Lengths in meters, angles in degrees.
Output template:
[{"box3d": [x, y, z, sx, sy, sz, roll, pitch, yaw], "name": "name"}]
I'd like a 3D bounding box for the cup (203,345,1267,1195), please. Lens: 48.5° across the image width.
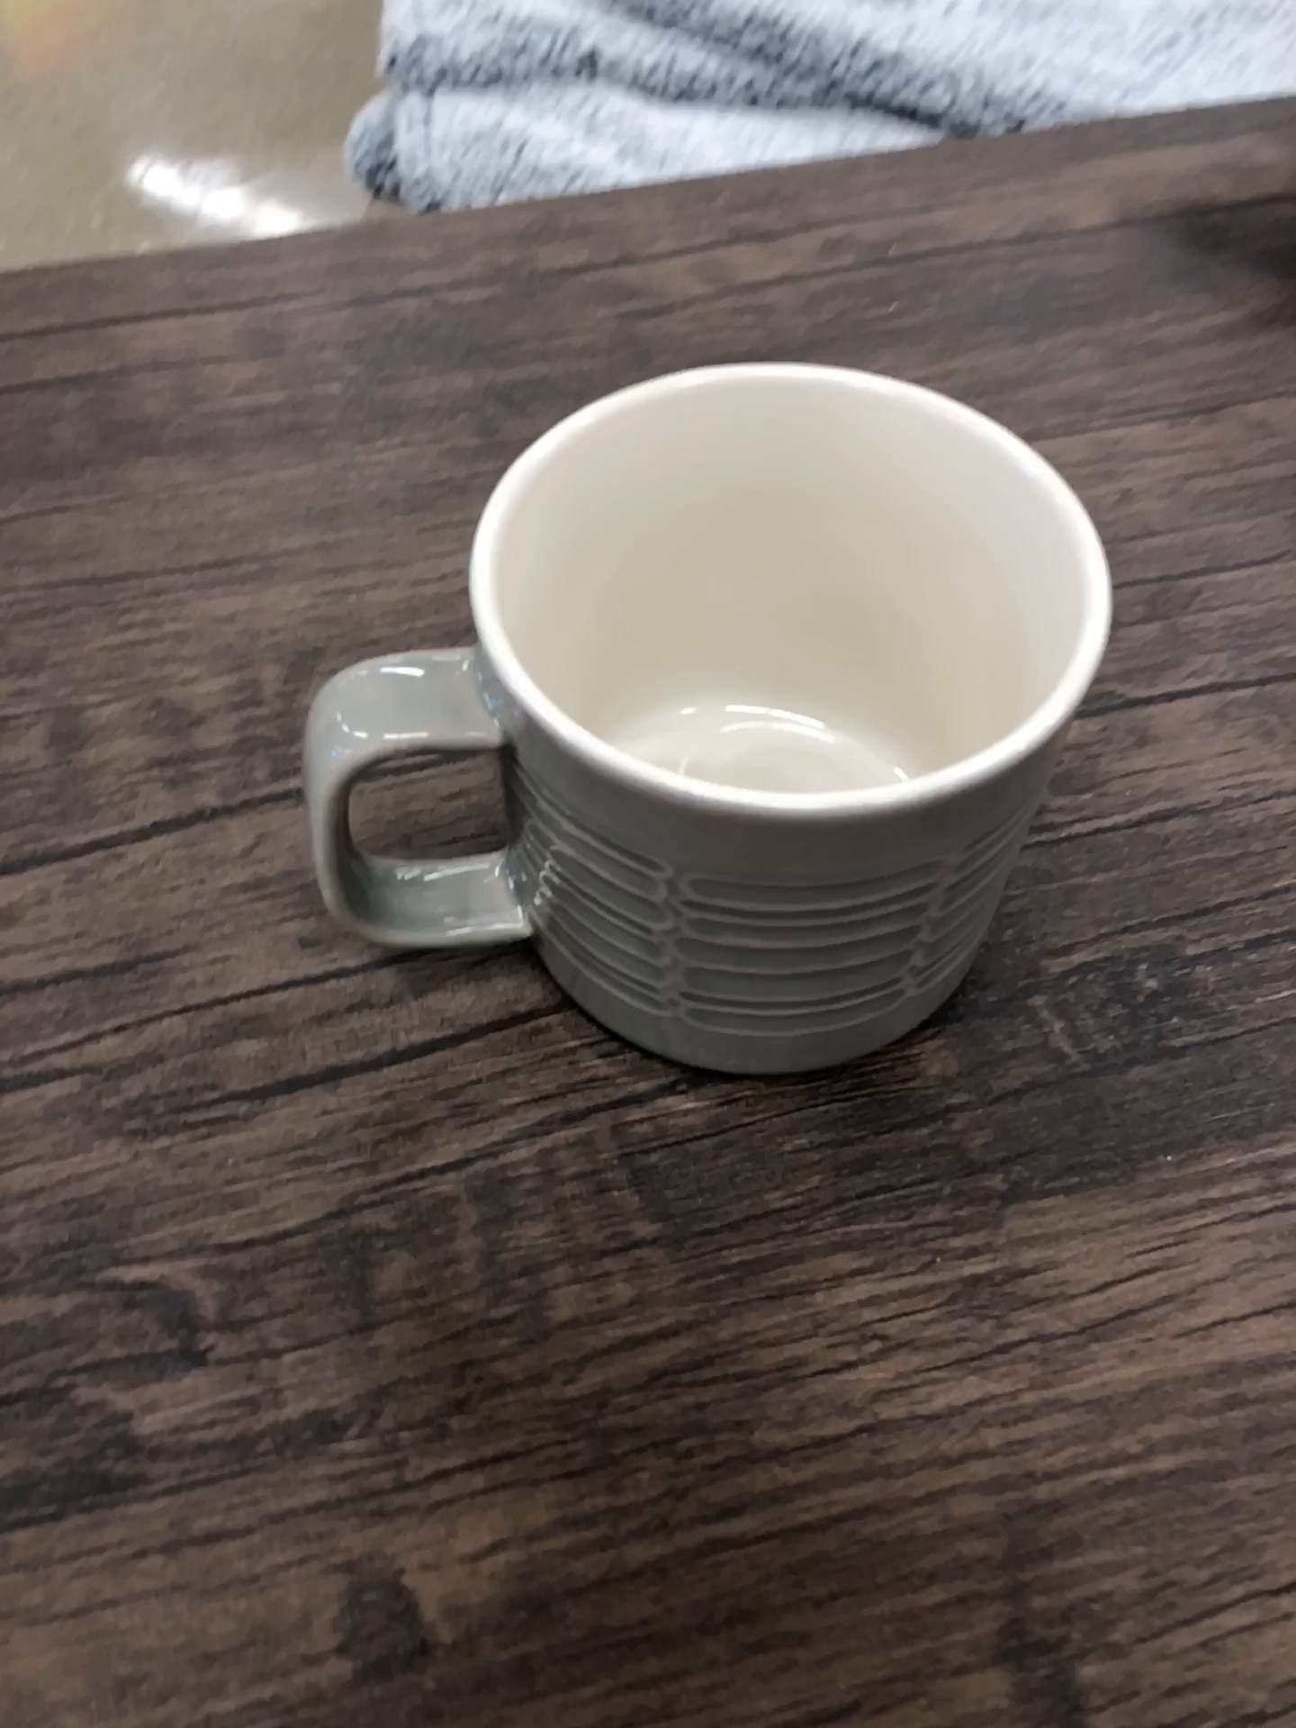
[{"box3d": [0.006, -0.016, 0.252, 0.140, 0.090, 0.100, -6, 55, -5], "name": "cup"}]
